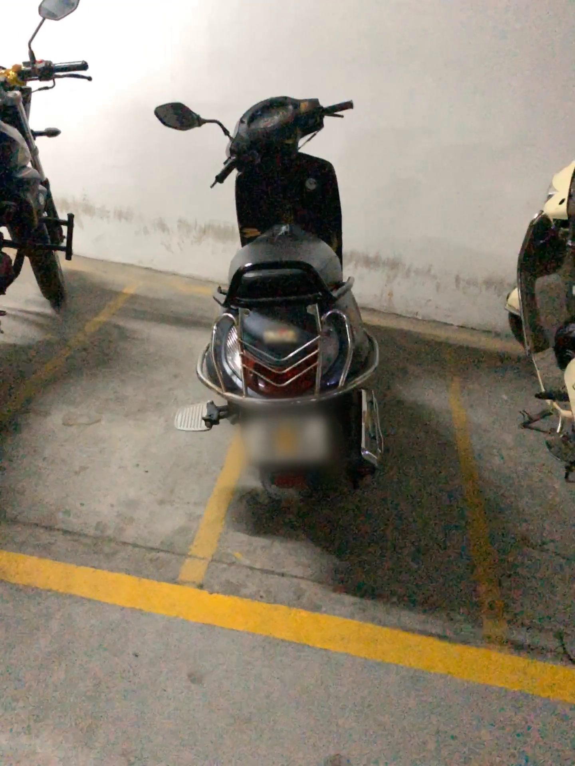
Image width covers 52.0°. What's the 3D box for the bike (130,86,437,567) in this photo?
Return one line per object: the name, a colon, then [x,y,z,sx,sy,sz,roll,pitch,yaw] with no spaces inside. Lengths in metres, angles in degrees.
bike: [-0.109,-0.344,2.221,0.652,1.239,1.539,6,30,-6]
